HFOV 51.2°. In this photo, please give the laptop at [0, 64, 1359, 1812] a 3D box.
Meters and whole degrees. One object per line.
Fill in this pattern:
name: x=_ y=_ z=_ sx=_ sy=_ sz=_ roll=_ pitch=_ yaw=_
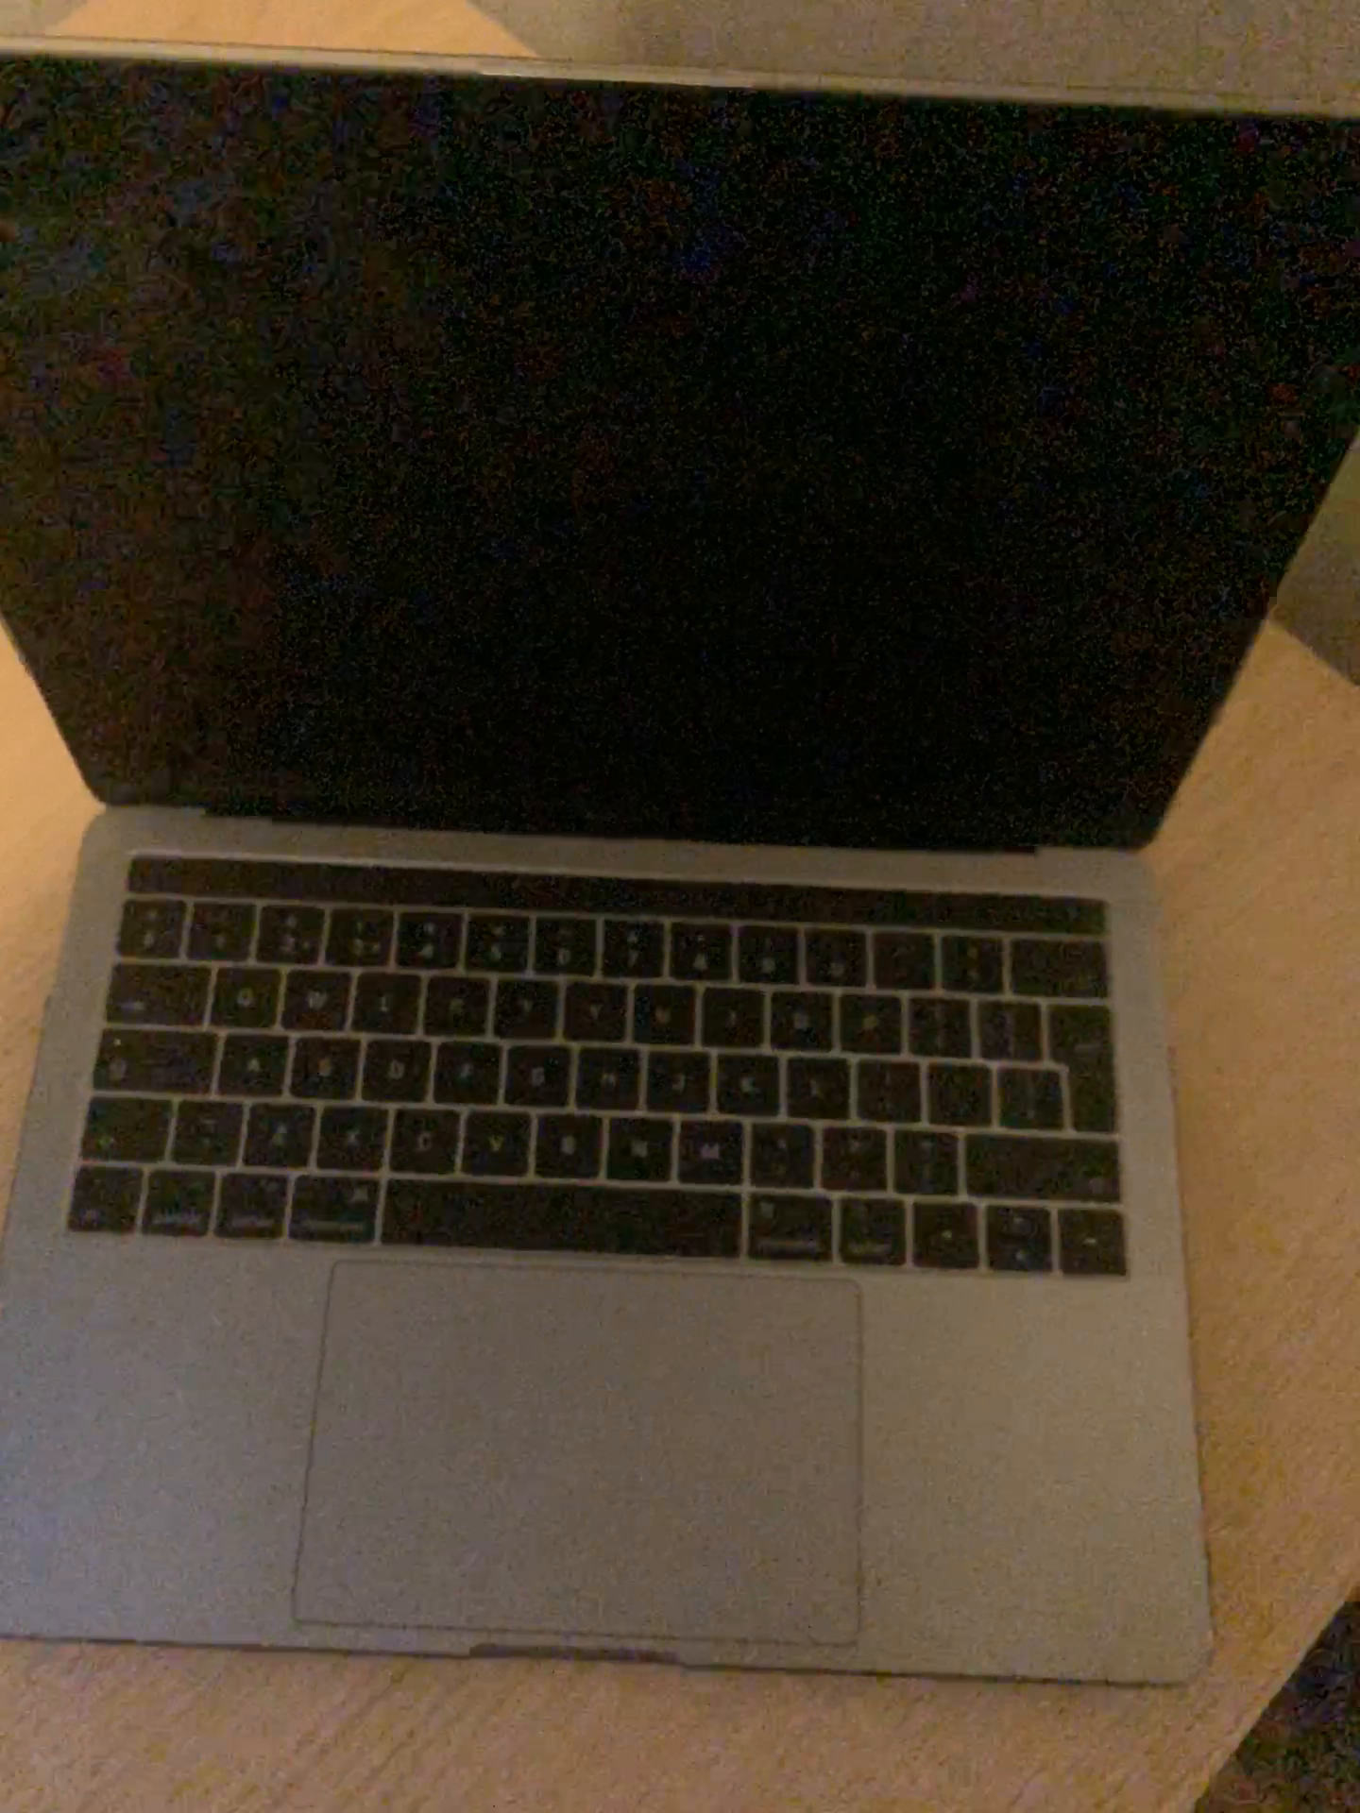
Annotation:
laptop: x=-0.017 y=0.020 z=0.285 sx=0.294 sy=0.198 sz=0.257 roll=3 pitch=70 yaw=0
